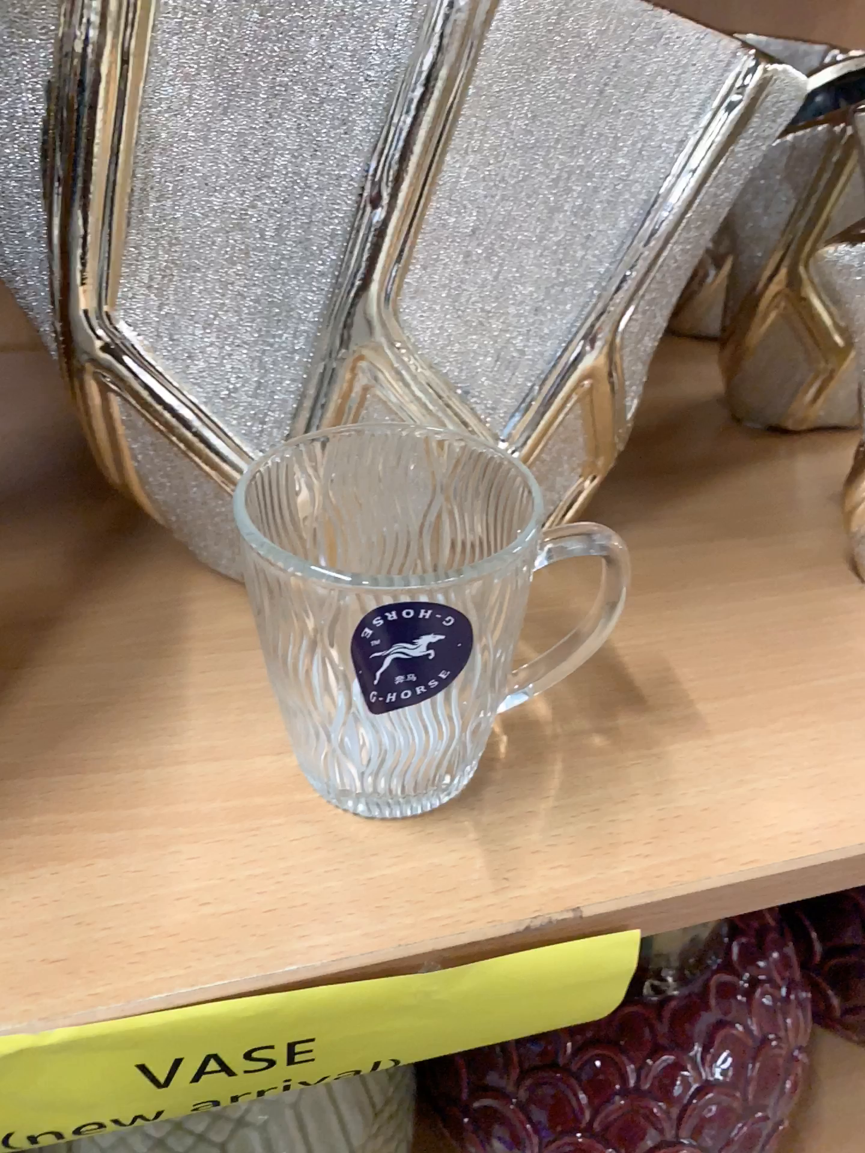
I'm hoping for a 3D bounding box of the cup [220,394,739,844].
[{"bbox_3d":[0.005,0.005,0.221,0.100,0.070,0.070,-7,35,-13],"label":"cup"}]
